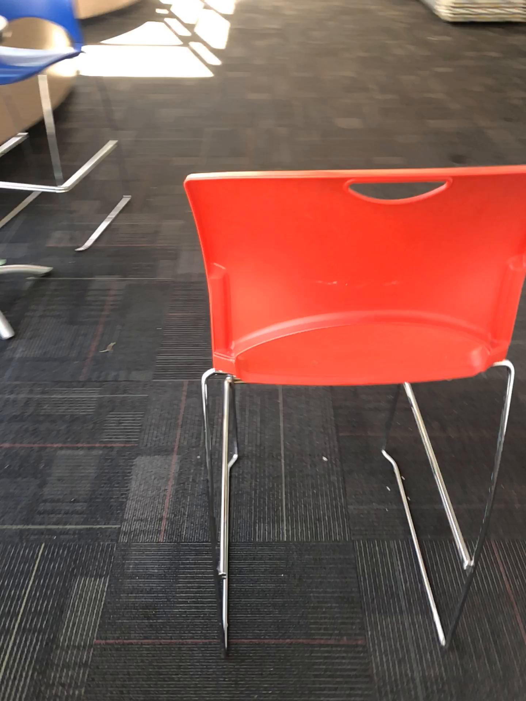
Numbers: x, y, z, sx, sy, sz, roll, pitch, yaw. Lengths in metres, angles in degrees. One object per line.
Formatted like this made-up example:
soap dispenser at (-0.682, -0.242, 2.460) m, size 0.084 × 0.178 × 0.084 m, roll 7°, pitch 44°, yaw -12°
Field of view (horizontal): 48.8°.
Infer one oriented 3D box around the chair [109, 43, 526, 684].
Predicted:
chair at (0.131, 0.047, 1.106) m, size 0.590 × 0.995 × 0.663 m, roll -3°, pitch 39°, yaw -4°
